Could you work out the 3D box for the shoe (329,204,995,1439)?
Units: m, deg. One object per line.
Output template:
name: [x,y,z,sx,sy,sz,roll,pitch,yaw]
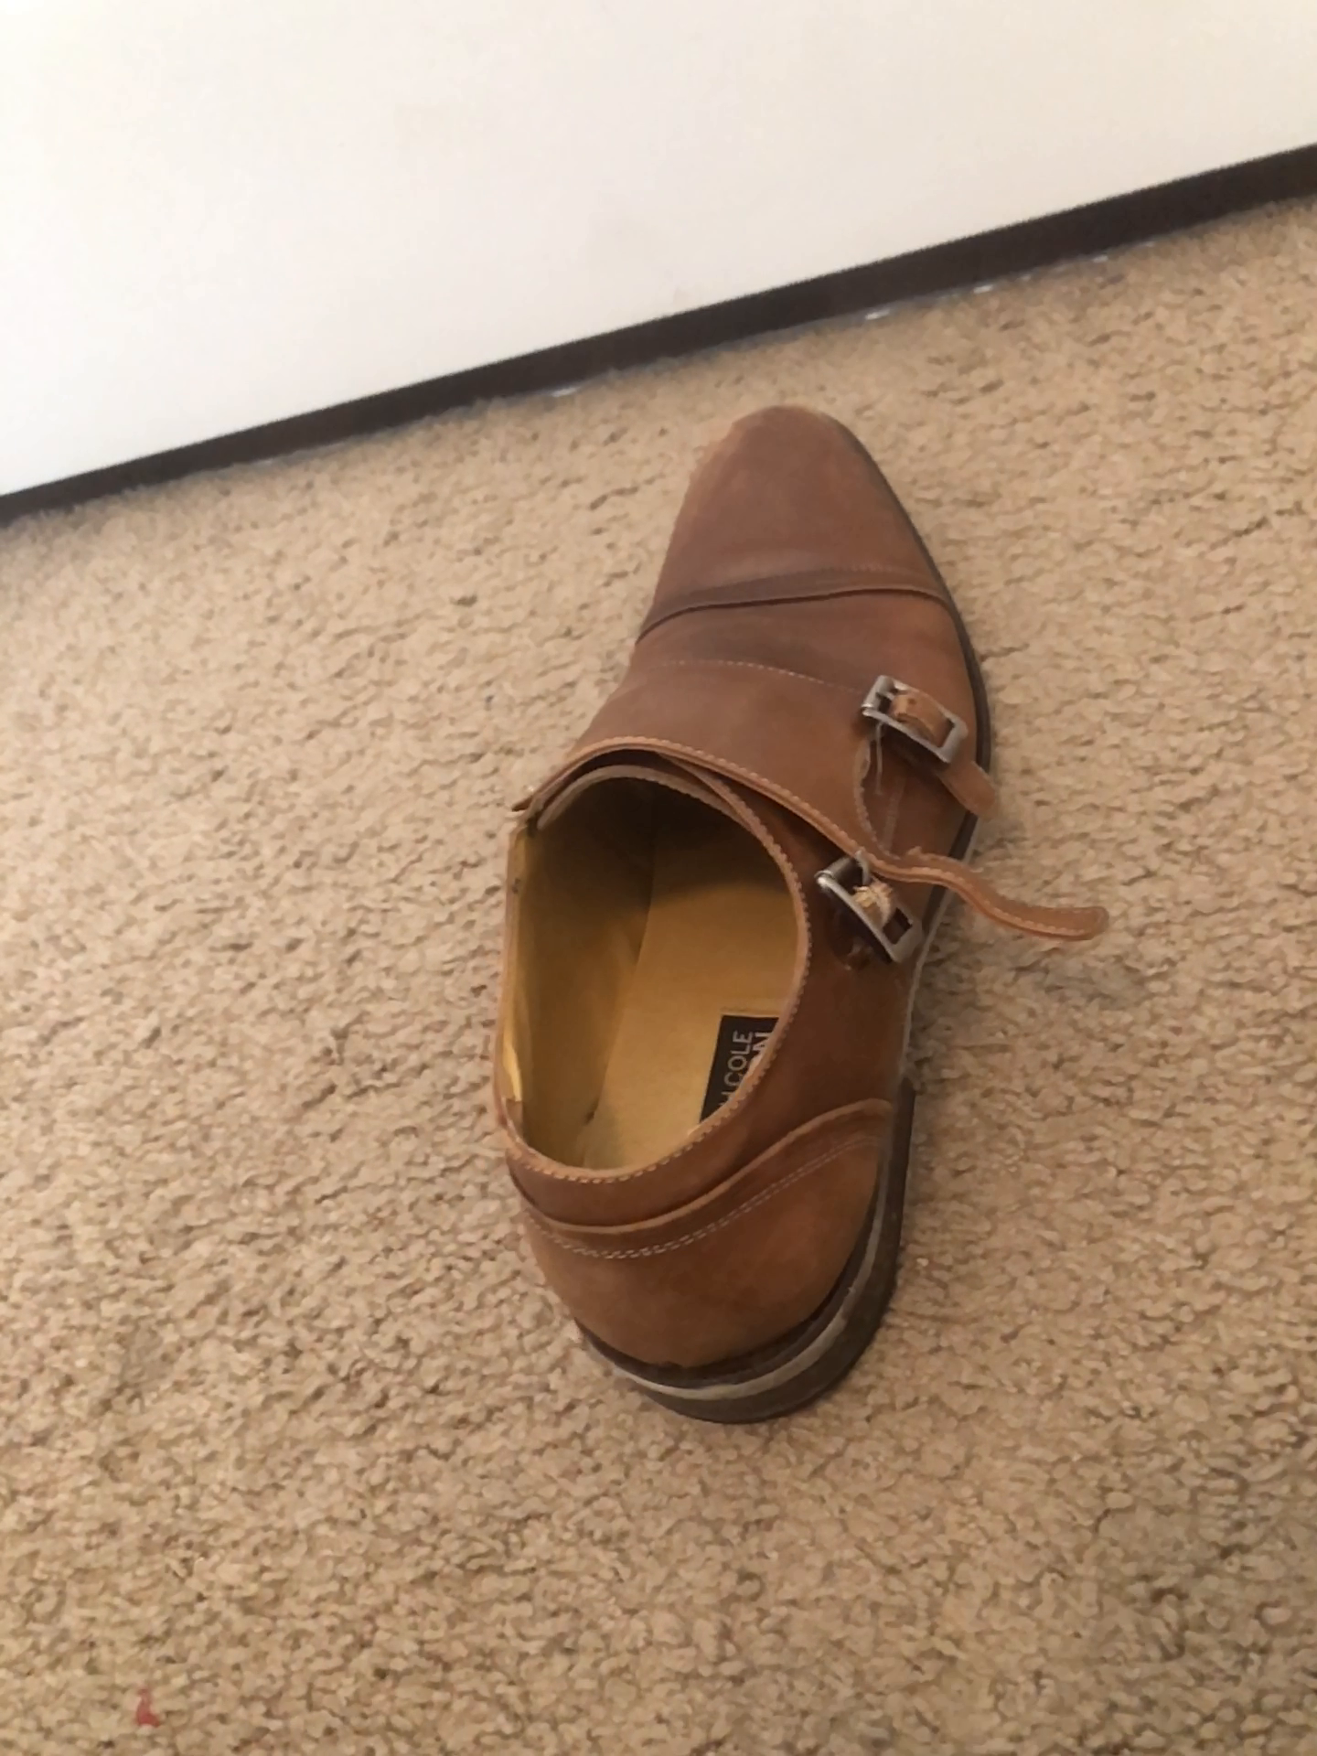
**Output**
shoe: [0.021,-0.024,0.364,0.100,0.107,0.286,-7,54,20]
